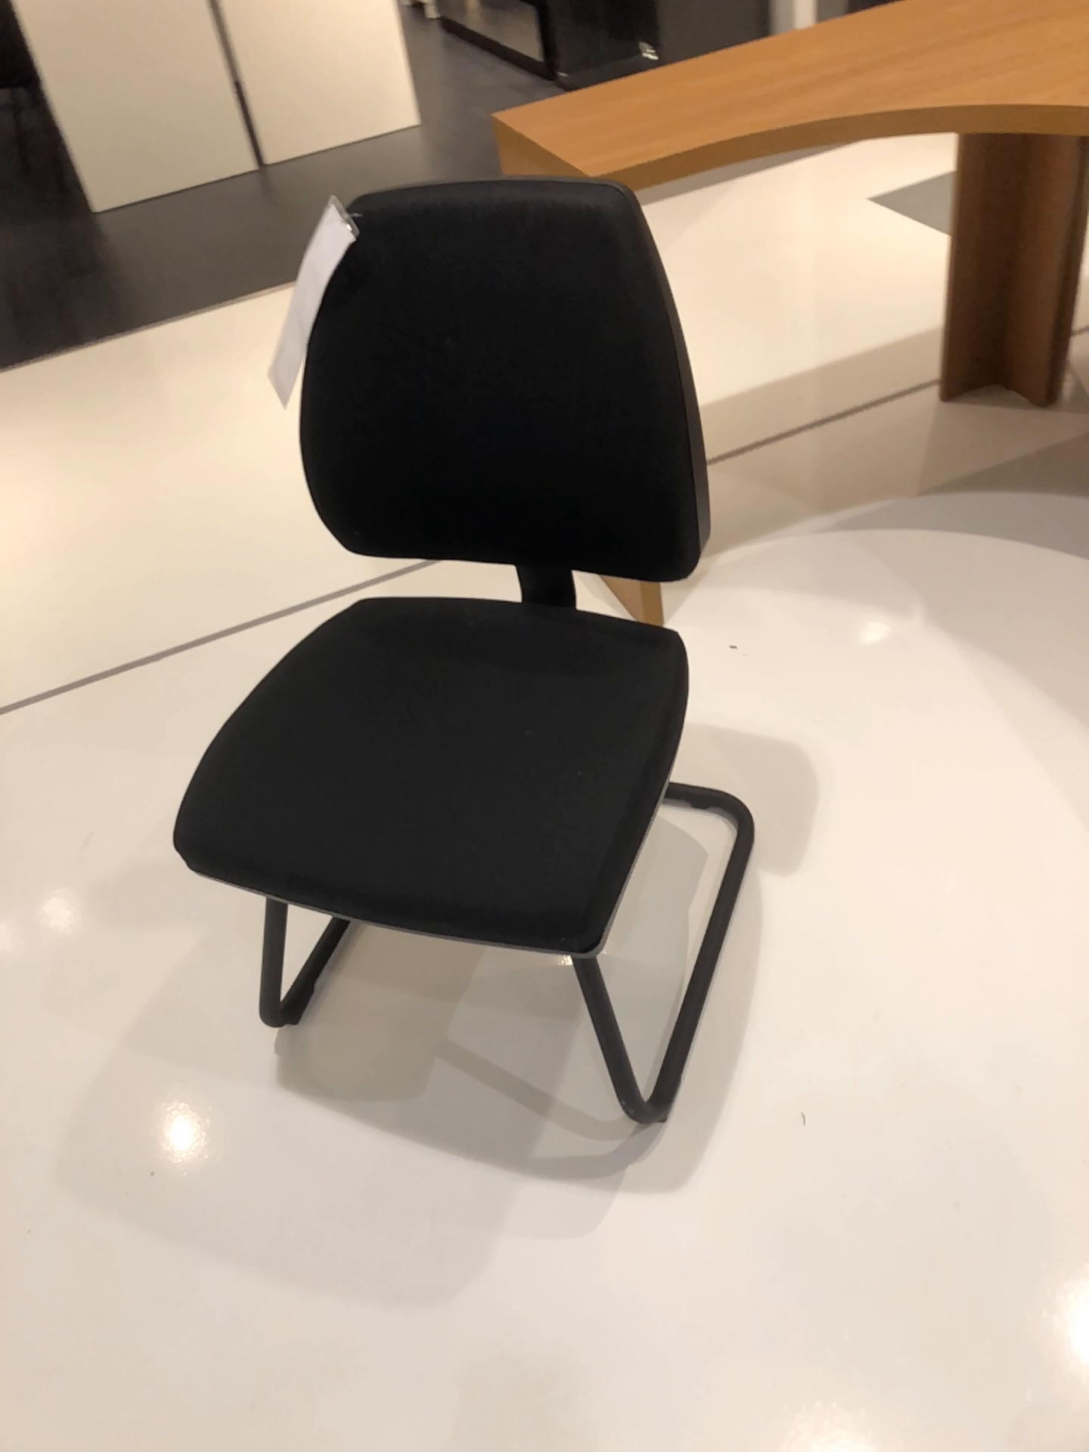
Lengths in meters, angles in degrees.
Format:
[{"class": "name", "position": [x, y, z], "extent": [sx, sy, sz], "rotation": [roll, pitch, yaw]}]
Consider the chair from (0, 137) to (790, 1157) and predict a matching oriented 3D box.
[{"class": "chair", "position": [-0.067, -0.073, 1.308], "extent": [0.551, 0.873, 0.564], "rotation": [7, 44, 20]}]
